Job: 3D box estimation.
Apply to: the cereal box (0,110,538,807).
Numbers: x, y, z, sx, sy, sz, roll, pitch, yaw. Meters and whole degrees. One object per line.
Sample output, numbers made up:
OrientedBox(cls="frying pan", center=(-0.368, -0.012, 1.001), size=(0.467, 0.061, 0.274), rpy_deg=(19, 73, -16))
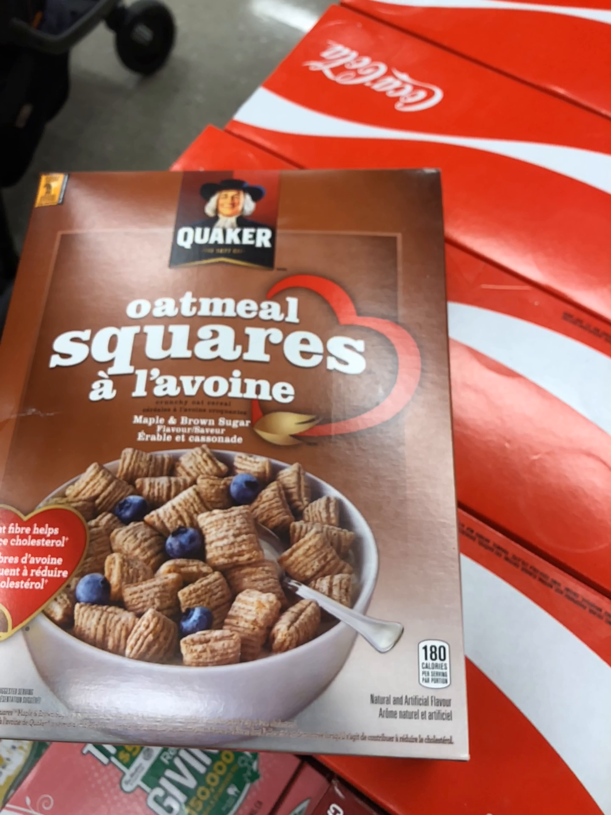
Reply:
OrientedBox(cls="cereal box", center=(-0.040, 0.000, 0.303), size=(0.240, 0.050, 0.290), rpy_deg=(1, 68, 3))
